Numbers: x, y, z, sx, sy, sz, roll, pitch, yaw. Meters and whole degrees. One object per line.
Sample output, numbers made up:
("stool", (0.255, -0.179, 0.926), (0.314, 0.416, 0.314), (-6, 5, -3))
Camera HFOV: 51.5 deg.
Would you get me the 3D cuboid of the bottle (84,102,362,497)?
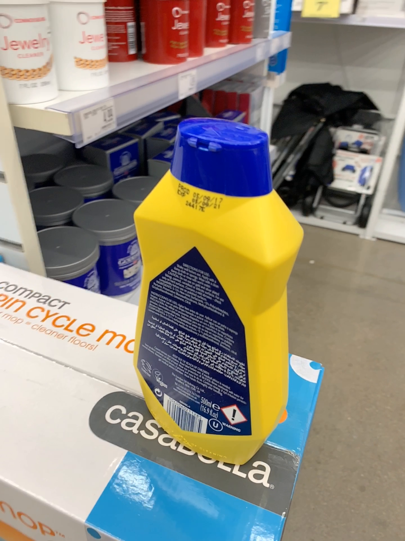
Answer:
("bottle", (0.006, 0.021, 0.229), (0.100, 0.189, 0.060), (21, 38, 25))
